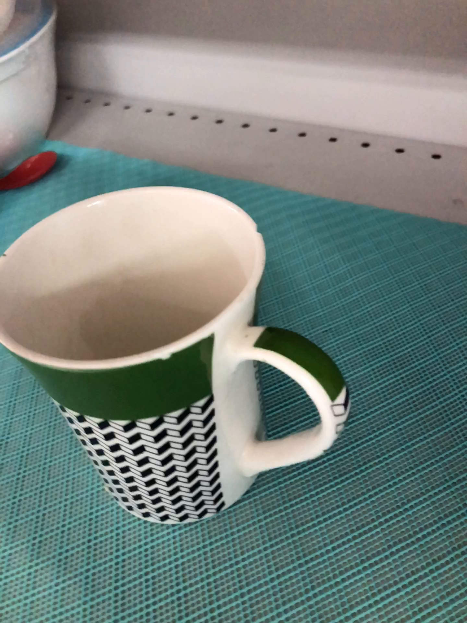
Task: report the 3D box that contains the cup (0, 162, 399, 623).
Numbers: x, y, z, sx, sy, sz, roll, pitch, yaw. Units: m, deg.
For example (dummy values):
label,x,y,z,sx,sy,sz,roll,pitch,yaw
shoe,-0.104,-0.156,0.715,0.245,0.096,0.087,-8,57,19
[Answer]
label,x,y,z,sx,sy,sz,roll,pitch,yaw
cup,-0.018,0.024,0.169,0.110,0.099,0.080,14,48,22
